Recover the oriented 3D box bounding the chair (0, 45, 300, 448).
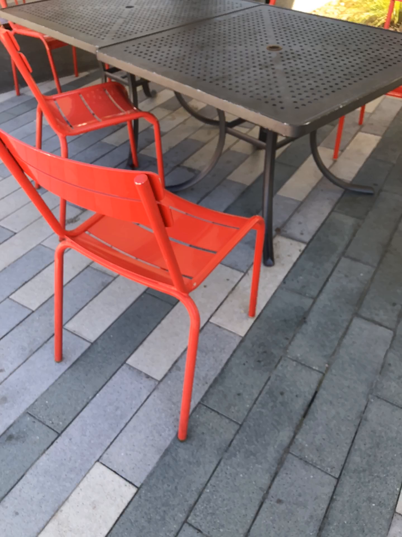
[{"bbox_3d":[-0.149,-0.077,1.431,0.611,0.955,0.632,22,47,25],"label":"chair"}]
